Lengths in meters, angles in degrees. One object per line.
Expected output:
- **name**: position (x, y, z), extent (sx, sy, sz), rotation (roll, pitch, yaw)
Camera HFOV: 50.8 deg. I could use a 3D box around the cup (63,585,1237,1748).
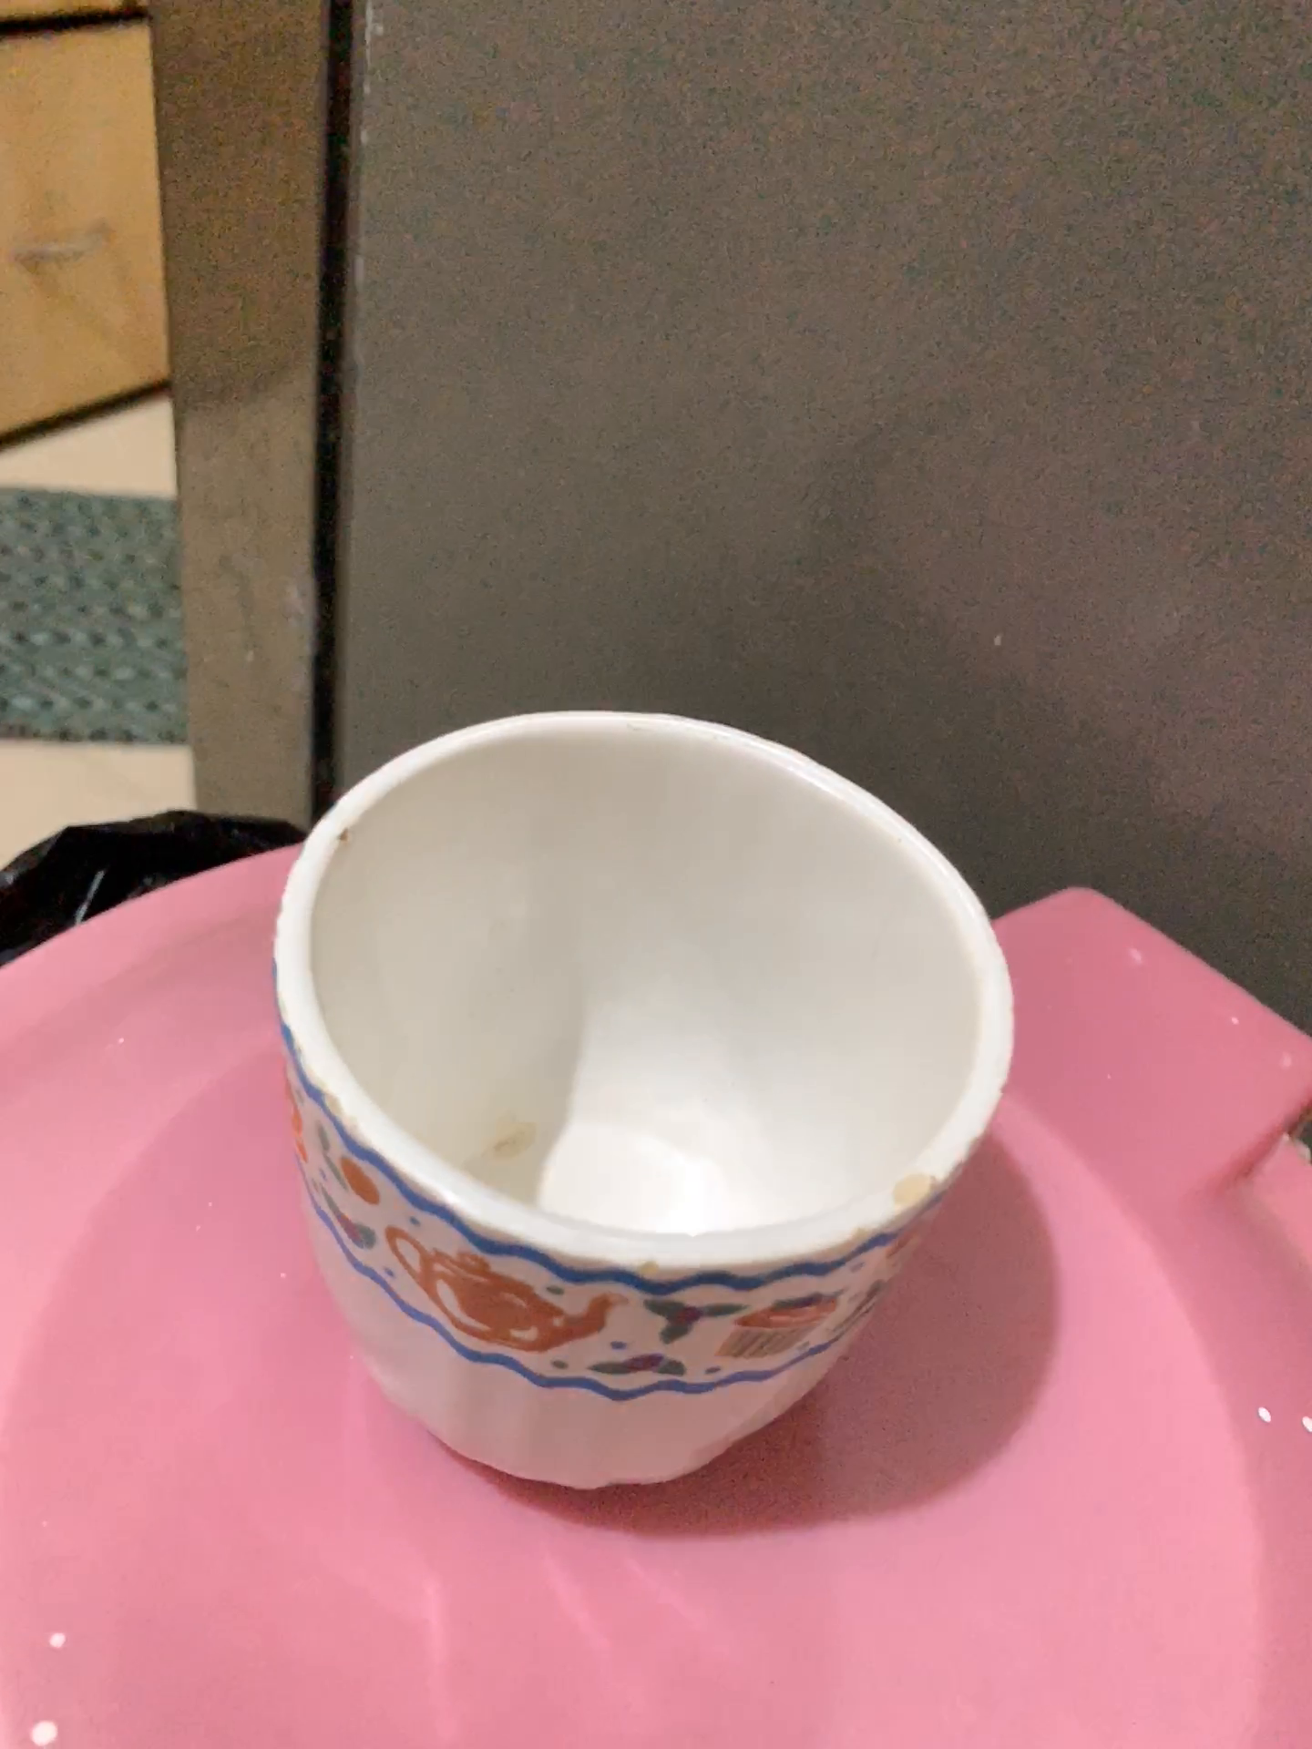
- **cup**: position (-0.002, 0.025, 0.141), extent (0.076, 0.062, 0.072), rotation (7, 41, -7)
